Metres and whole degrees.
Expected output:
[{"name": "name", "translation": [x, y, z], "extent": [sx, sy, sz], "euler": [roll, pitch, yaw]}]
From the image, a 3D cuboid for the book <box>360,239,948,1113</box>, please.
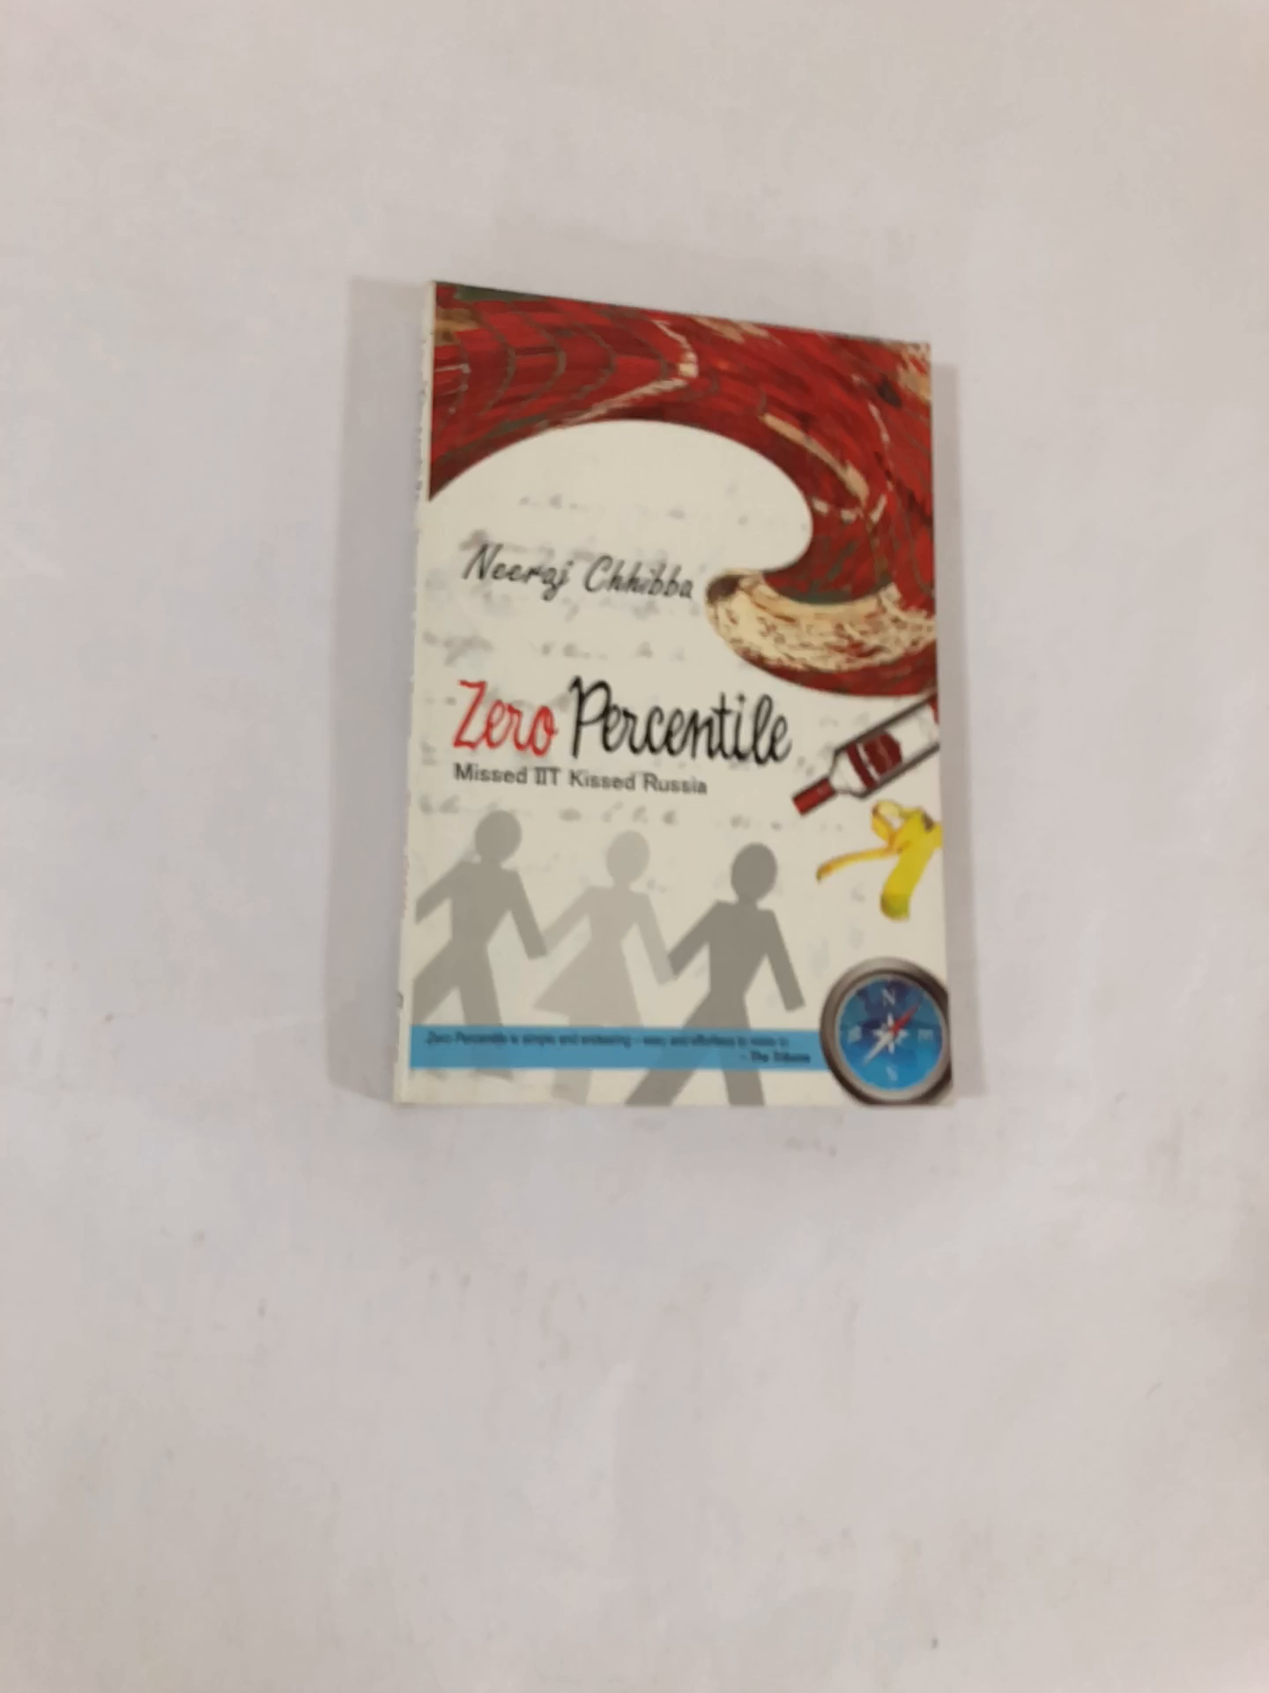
[{"name": "book", "translation": [0.007, -0.039, 0.341], "extent": [0.132, 0.021, 0.200], "euler": [3, 79, -12]}]
